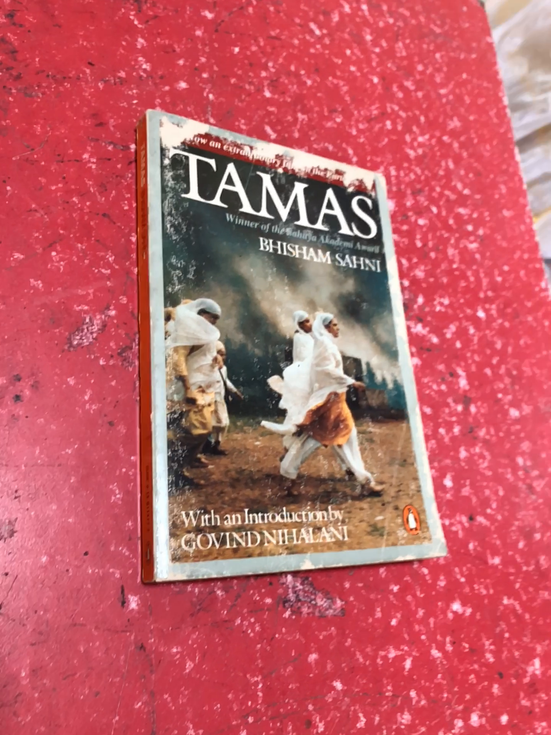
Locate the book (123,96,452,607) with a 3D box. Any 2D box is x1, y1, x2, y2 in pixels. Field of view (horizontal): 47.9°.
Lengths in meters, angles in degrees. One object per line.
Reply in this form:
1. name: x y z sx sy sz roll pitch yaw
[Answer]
1. book: 0.003 -0.011 0.267 0.130 0.020 0.200 5 69 -29
